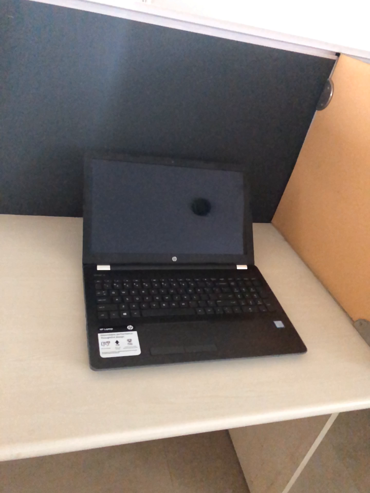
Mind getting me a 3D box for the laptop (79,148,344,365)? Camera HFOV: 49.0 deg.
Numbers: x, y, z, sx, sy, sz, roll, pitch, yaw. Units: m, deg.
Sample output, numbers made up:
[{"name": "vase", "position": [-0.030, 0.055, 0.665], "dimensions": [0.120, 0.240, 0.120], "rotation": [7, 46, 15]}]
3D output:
[{"name": "laptop", "position": [0.005, -0.009, 0.784], "dimensions": [0.377, 0.173, 0.410], "rotation": [1, 35, -19]}]
